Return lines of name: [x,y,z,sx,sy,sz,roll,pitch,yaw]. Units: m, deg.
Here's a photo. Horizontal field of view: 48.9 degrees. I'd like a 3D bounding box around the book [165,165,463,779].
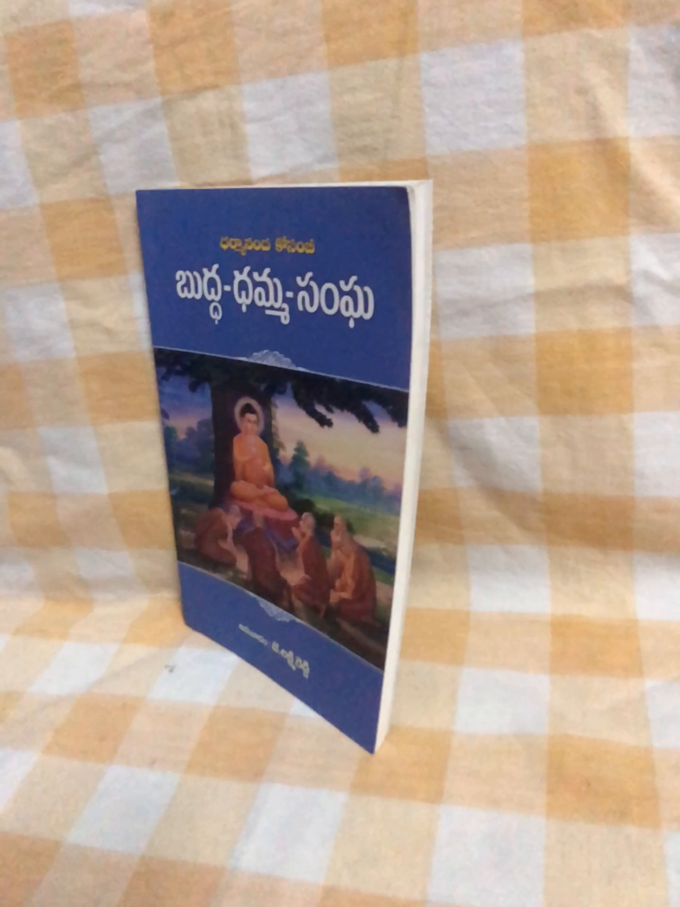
book: [-0.023,0.000,0.315,0.020,0.219,0.150,-12,21,-42]
